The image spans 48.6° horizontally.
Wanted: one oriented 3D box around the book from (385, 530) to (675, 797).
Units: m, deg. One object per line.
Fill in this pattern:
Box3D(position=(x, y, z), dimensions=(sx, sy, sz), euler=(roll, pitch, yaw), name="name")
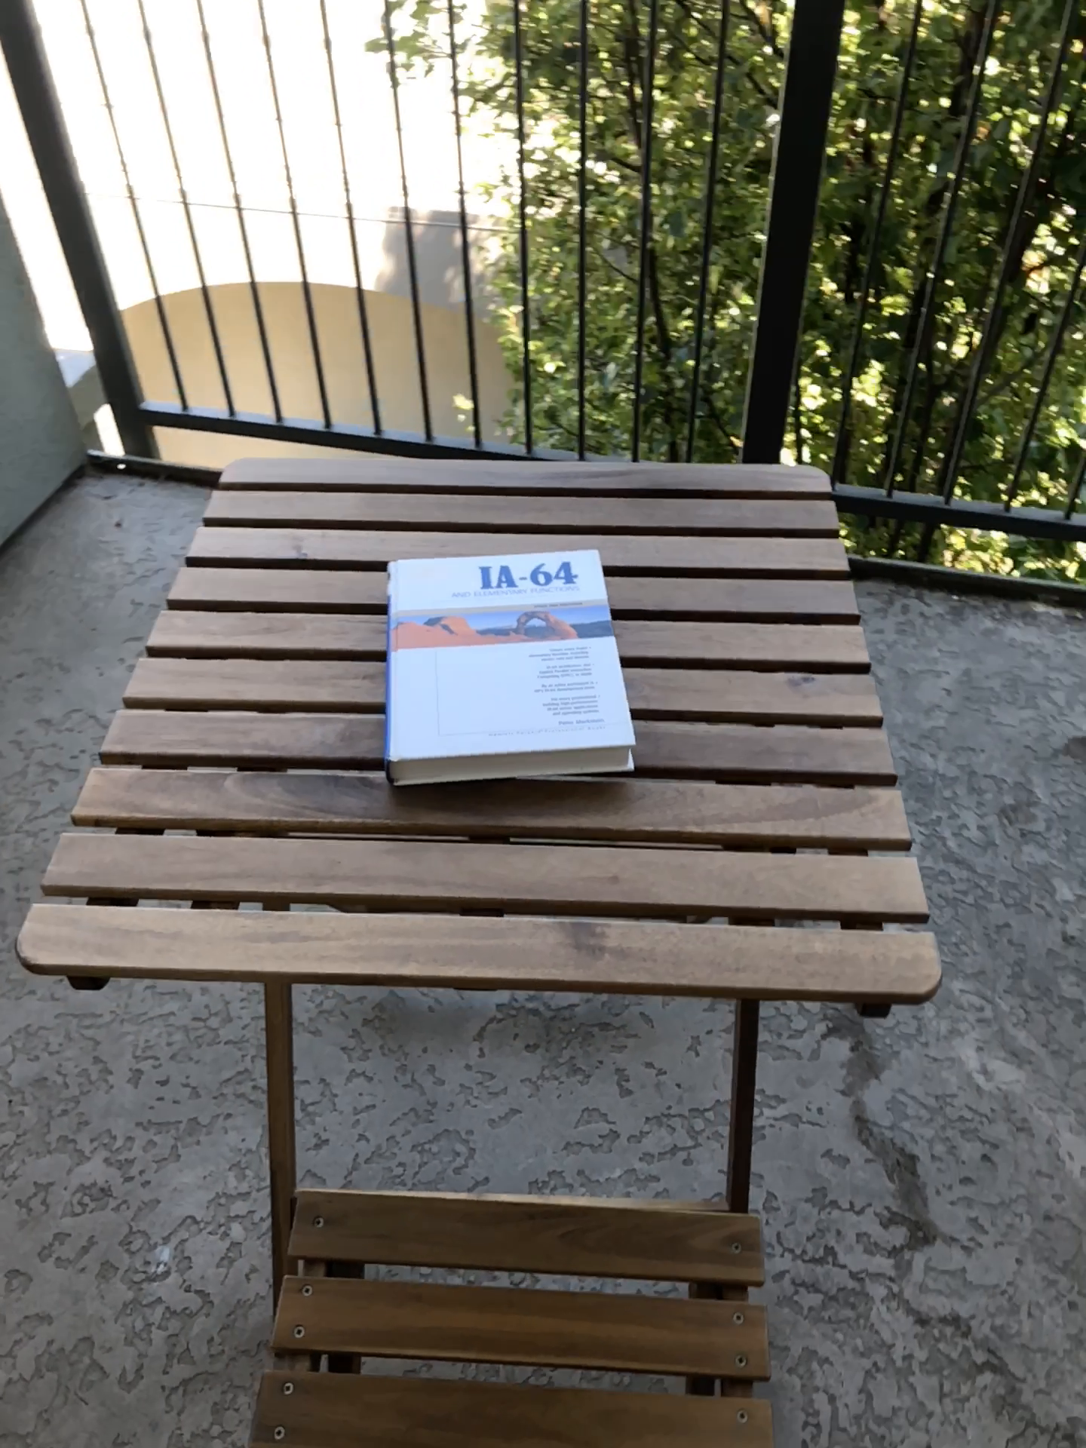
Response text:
Box3D(position=(-0.017, -0.056, 0.931), dimensions=(0.200, 0.040, 0.251), euler=(-3, 44, -2), name="book")
